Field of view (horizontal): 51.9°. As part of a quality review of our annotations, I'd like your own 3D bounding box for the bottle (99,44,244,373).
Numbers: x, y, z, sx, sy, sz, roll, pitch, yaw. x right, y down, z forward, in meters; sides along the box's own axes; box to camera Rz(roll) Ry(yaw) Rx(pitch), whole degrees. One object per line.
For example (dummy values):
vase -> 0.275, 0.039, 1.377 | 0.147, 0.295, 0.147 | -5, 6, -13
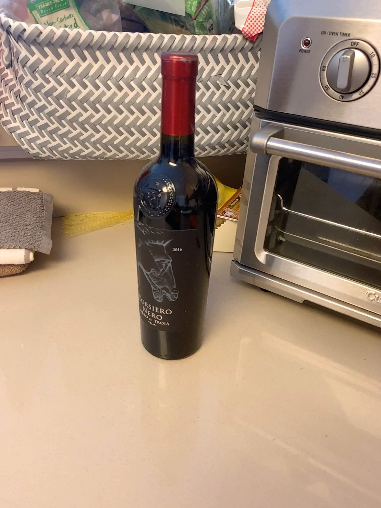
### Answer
bottle -> -0.018, -0.028, 0.355 | 0.080, 0.278, 0.070 | 18, 35, 24
